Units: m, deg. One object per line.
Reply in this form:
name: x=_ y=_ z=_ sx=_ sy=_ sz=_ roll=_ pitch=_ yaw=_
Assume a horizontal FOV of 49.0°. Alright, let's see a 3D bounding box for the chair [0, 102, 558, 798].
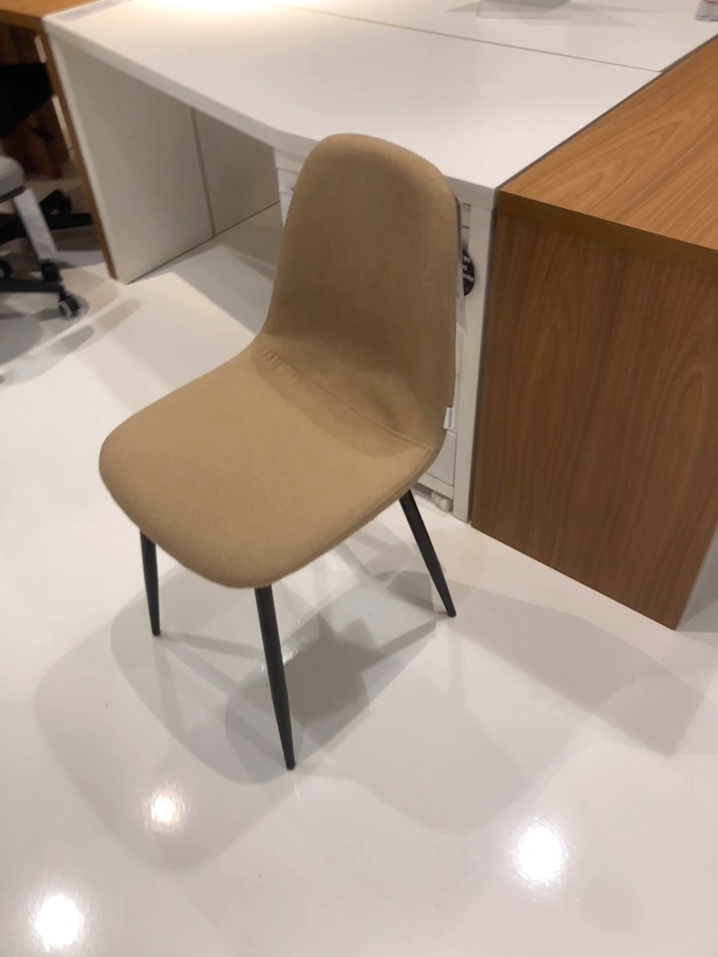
chair: x=-0.101 y=-0.039 z=1.200 sx=0.522 sy=0.784 sz=0.482 roll=-35 pitch=52 yaw=-30
